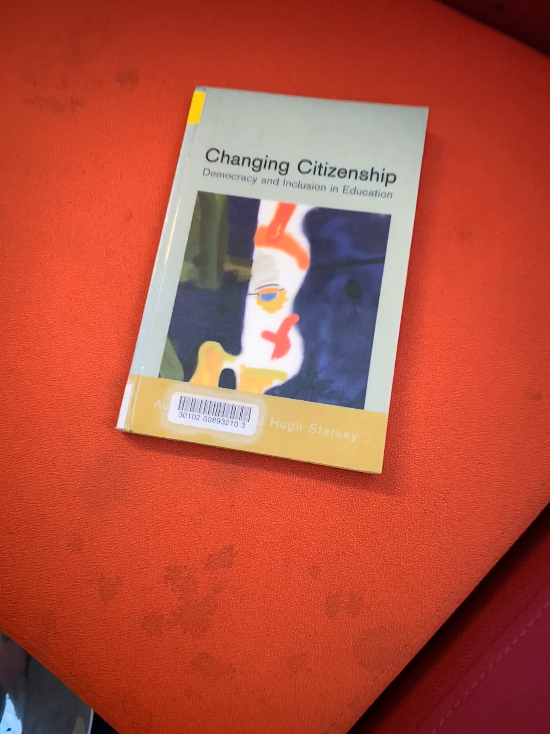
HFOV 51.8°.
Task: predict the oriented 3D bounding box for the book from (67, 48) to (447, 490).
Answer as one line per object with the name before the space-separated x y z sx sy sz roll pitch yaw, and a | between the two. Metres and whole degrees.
book | -0.003 -0.067 0.348 0.180 0.040 0.250 9 78 6
